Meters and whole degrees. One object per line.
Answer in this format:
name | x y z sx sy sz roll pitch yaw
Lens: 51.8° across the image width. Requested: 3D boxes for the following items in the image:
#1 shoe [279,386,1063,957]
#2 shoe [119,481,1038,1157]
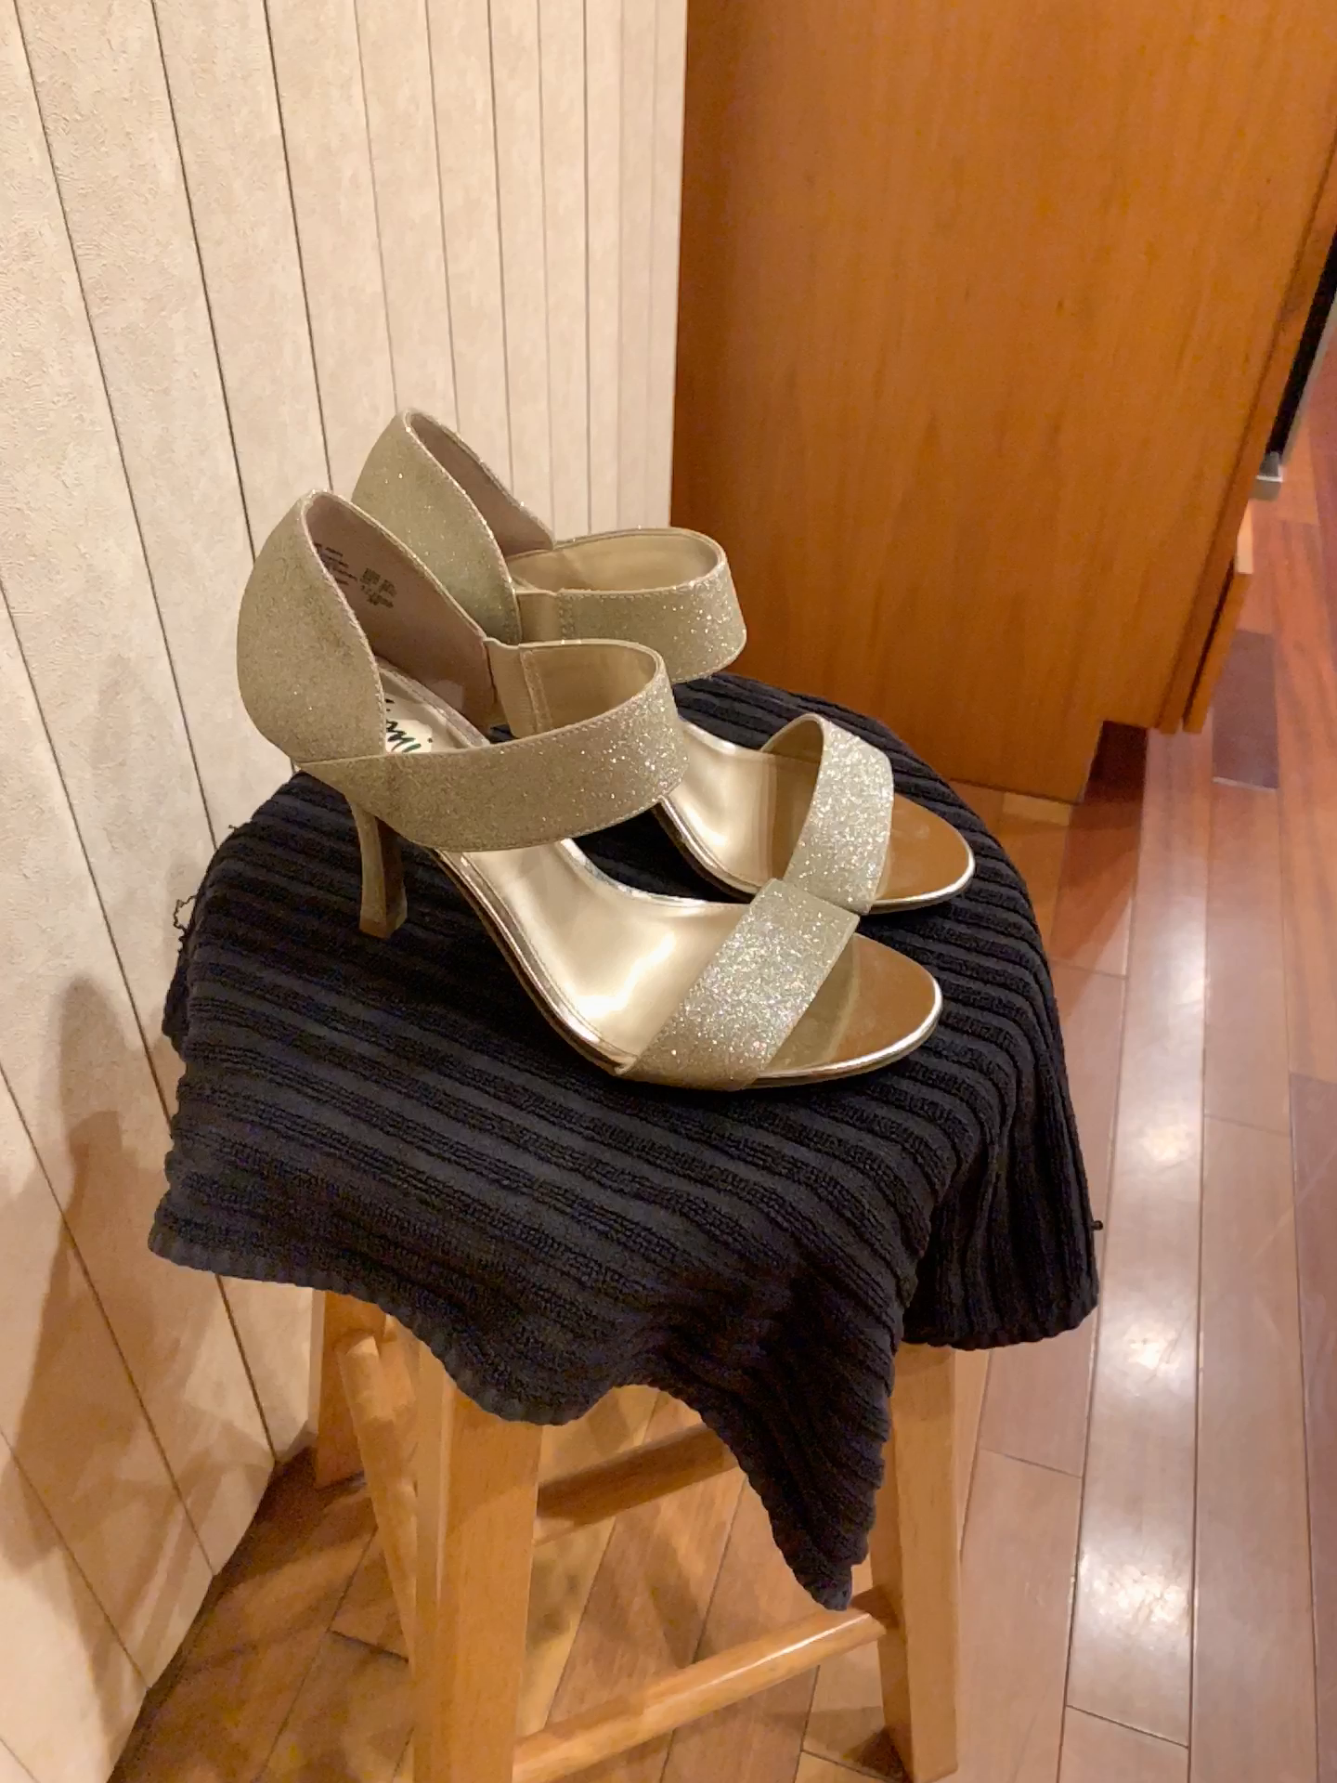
shoe | 0.001 -0.081 0.485 0.236 0.129 0.090 13 42 12
shoe | -0.024 -0.027 0.422 0.235 0.129 0.095 13 42 12
